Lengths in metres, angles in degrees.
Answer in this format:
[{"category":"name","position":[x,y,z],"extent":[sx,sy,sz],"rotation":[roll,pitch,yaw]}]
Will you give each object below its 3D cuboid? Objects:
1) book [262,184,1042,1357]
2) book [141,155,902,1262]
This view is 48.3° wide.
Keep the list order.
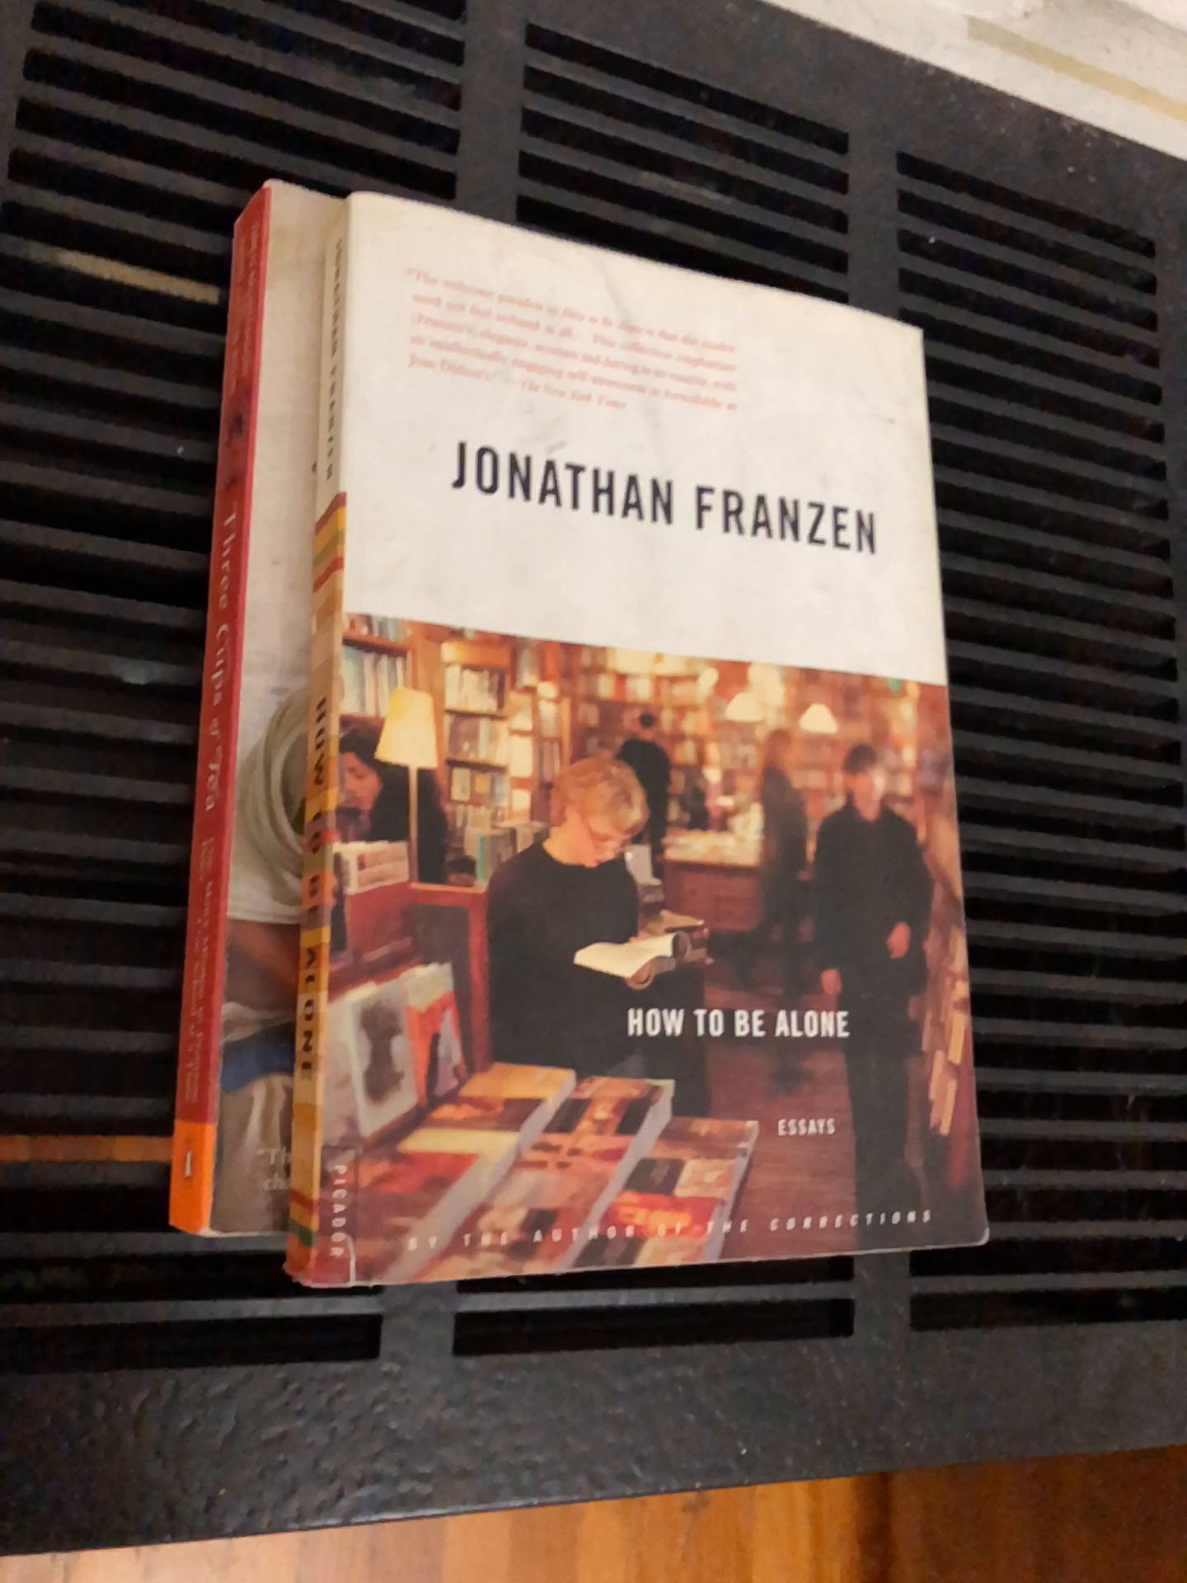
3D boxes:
[{"category":"book","position":[0.013,-0.006,0.274],"extent":[0.150,0.030,0.210],"rotation":[4,77,-23]},{"category":"book","position":[-0.012,-0.017,0.285],"extent":[0.150,0.030,0.210],"rotation":[4,77,-23]}]
